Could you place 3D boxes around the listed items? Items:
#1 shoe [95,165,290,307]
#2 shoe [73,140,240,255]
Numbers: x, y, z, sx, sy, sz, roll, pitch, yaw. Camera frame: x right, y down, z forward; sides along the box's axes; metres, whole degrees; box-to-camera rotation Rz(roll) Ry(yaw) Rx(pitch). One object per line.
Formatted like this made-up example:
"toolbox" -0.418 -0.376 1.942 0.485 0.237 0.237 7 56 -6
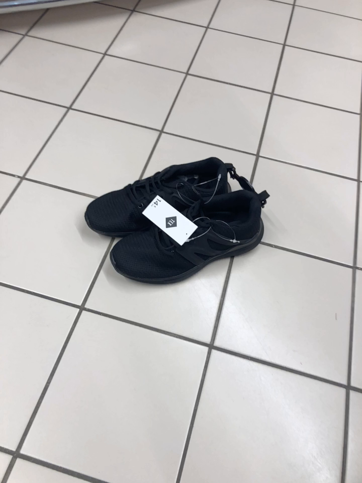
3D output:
"shoe" 0.016 -0.011 0.632 0.271 0.119 0.100 -18 61 -16
"shoe" -0.042 -0.077 0.685 0.250 0.110 0.100 -14 60 -13
